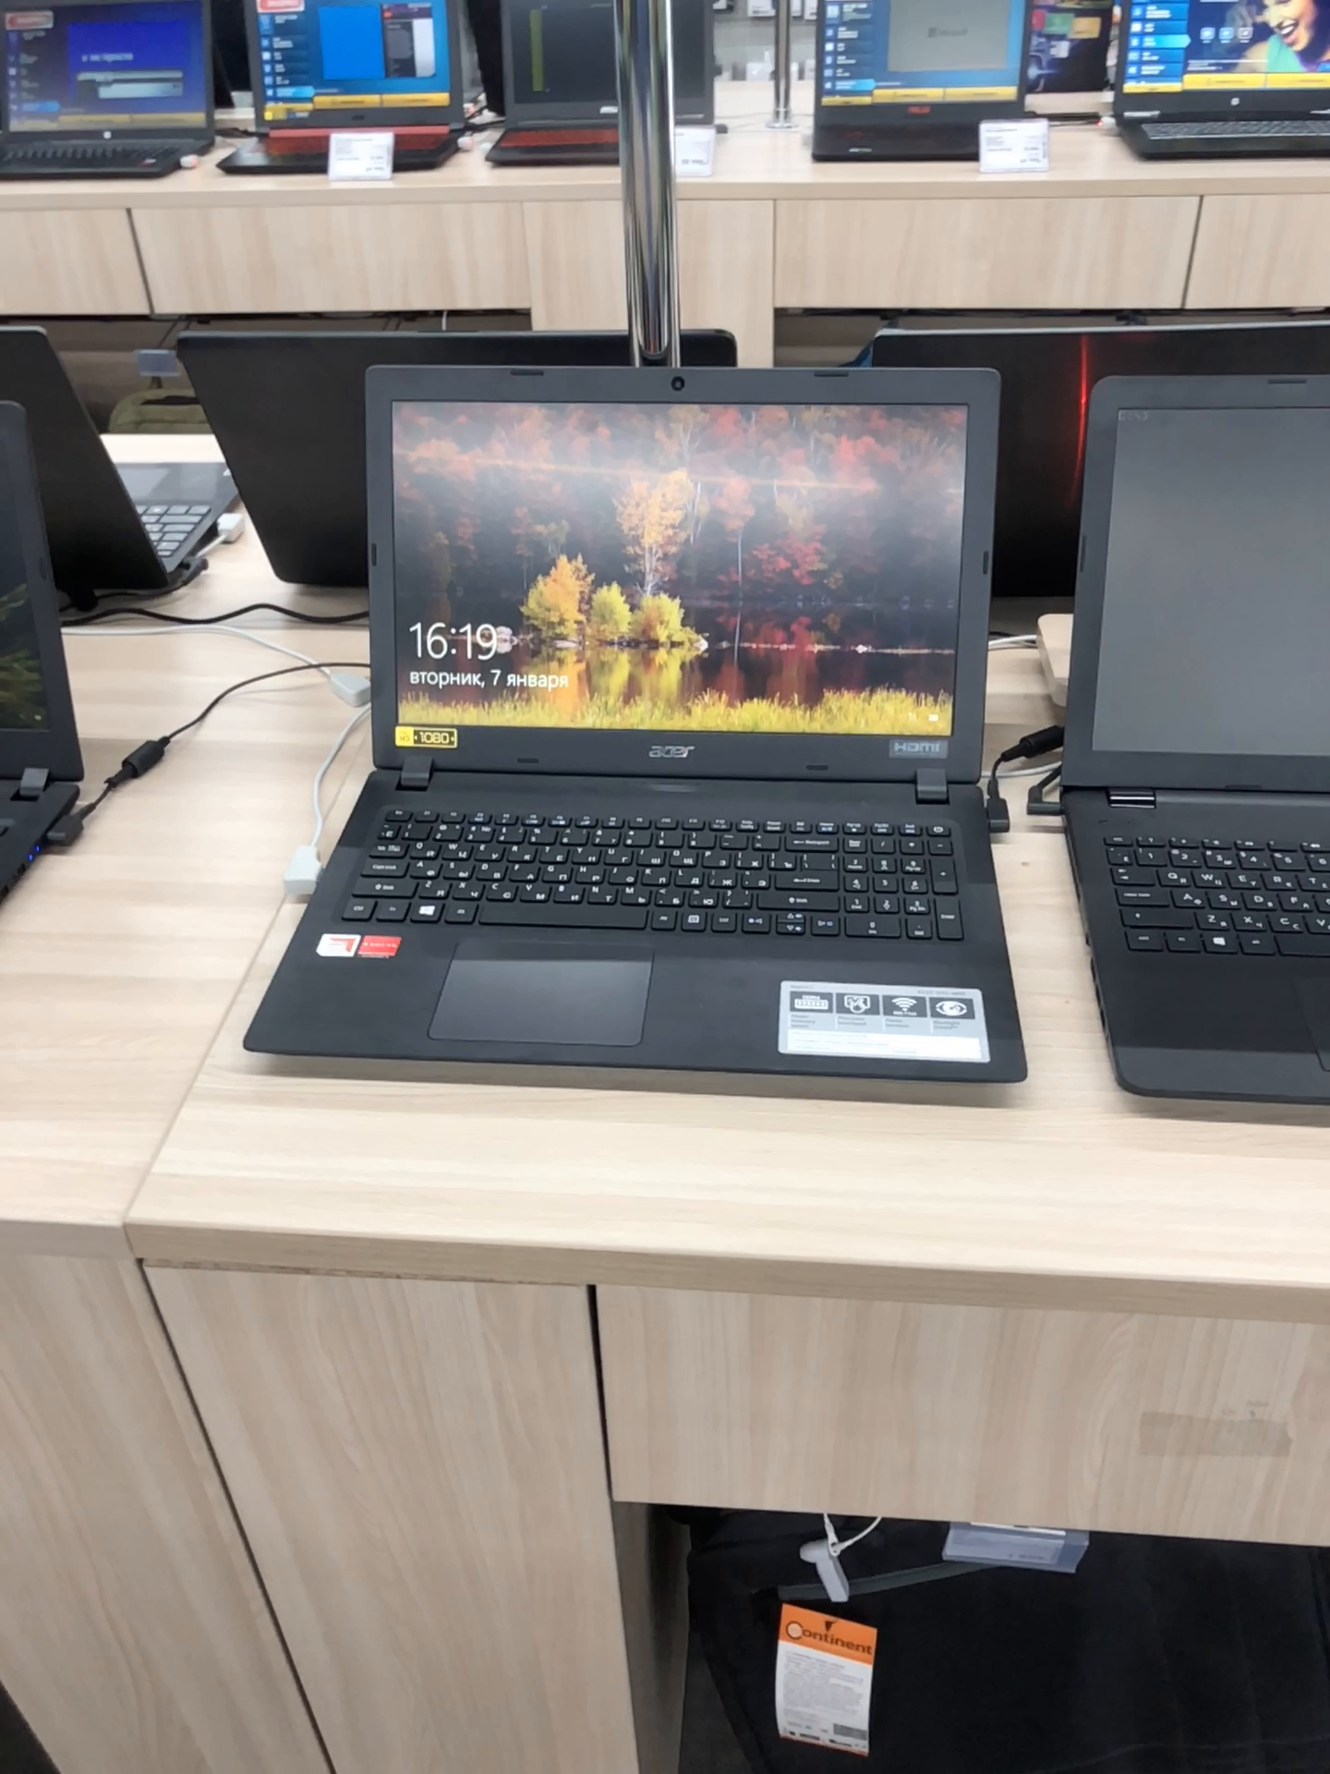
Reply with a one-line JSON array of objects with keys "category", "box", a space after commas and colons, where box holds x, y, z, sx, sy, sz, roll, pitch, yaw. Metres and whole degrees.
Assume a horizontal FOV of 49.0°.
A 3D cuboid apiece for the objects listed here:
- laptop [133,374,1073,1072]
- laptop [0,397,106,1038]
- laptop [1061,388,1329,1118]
[{"category": "laptop", "box": [-0.004, -0.109, 0.783, 0.373, 0.208, 0.369, 1, 37, 5]}, {"category": "laptop", "box": [-0.547, -0.109, 0.805, 0.306, 0.214, 0.302, 2, 37, 6]}, {"category": "laptop", "box": [0.410, -0.089, 0.728, 0.377, 0.212, 0.340, 3, 36, 6]}]
